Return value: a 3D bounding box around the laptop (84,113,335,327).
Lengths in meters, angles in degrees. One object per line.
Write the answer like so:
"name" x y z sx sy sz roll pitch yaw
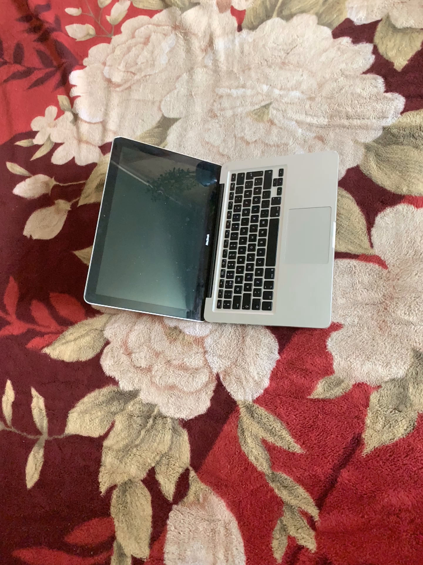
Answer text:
"laptop" 0.004 -0.099 0.750 0.388 0.116 0.317 1 75 19
